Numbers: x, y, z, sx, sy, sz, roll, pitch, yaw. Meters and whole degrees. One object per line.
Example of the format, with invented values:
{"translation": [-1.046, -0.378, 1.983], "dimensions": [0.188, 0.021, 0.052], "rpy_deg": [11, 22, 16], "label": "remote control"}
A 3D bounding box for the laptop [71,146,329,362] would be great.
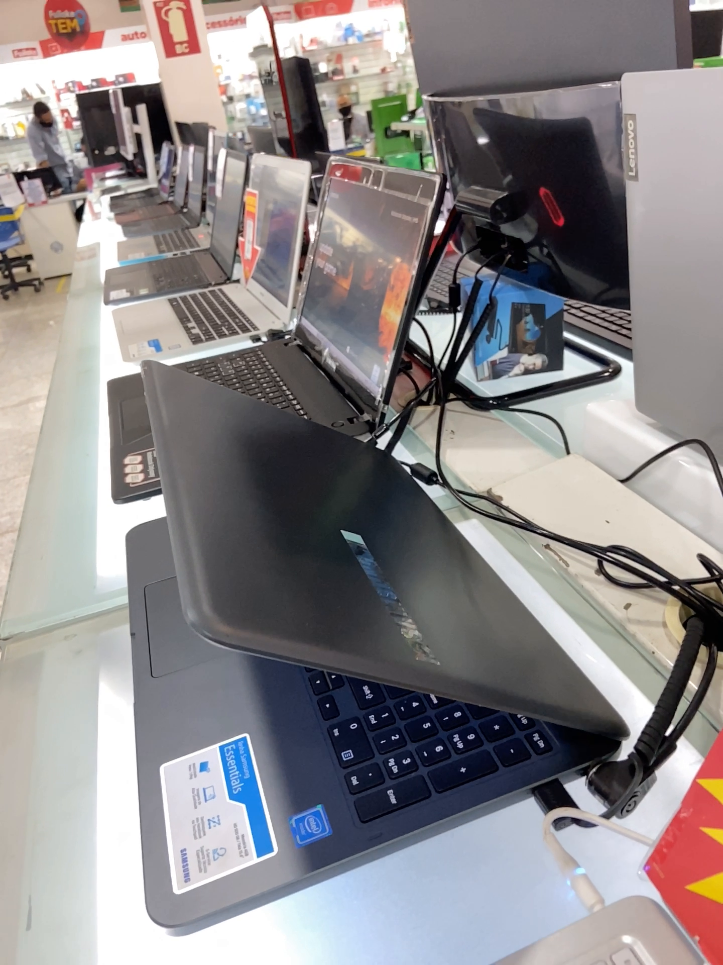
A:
{"translation": [-0.298, -0.425, 1.334], "dimensions": [0.342, 0.246, 0.331], "rpy_deg": [-15, 31, -12], "label": "laptop"}

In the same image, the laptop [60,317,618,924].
{"translation": [-0.049, 0.029, 0.484], "dimensions": [0.235, 0.139, 0.368], "rpy_deg": [-16, 29, -13], "label": "laptop"}

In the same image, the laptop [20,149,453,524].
{"translation": [-0.138, -0.213, 0.854], "dimensions": [0.371, 0.223, 0.396], "rpy_deg": [-18, 30, -15], "label": "laptop"}

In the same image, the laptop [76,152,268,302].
{"translation": [-0.421, -0.571, 1.628], "dimensions": [0.335, 0.201, 0.304], "rpy_deg": [-17, 31, -12], "label": "laptop"}

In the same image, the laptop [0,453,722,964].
{"translation": [0.112, 0.170, 0.122], "dimensions": [0.296, 0.177, 0.317], "rpy_deg": [-17, 28, -12], "label": "laptop"}
